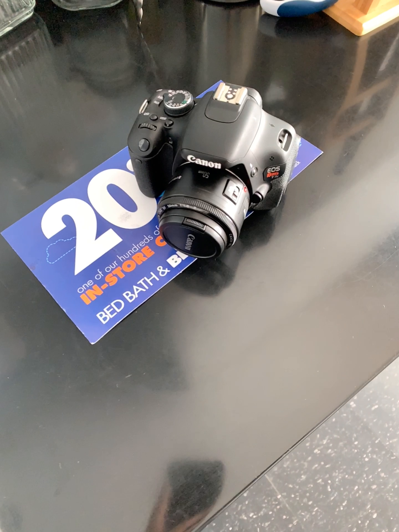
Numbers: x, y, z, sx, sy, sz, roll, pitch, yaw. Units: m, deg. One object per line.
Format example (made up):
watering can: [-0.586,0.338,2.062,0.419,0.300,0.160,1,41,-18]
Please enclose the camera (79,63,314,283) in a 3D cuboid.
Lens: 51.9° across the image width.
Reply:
camera: [0.003,-0.077,0.340,0.140,0.086,0.124,17,66,11]
